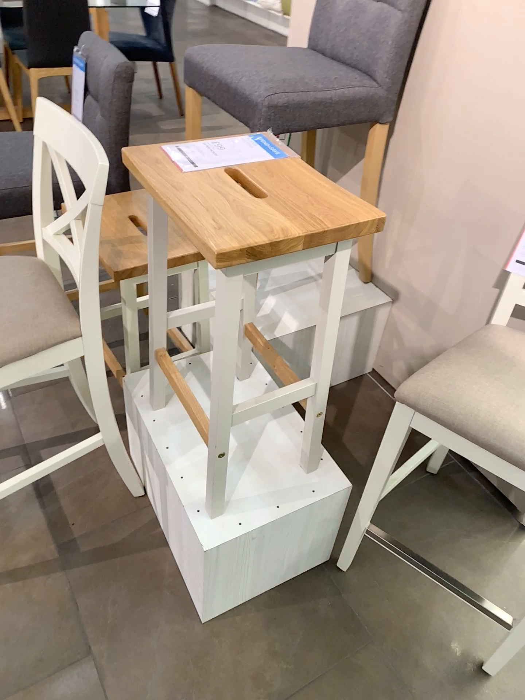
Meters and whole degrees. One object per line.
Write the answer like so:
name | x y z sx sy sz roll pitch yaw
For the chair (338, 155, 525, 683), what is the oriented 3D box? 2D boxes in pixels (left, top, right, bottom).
chair | 0.555 0.172 1.151 0.418 0.945 0.514 29 45 25

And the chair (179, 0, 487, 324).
chair | 0.108 -0.663 1.527 0.532 0.984 0.470 -17 45 -25

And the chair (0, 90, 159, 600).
chair | -0.580 0.013 1.197 0.503 0.955 0.440 -22 48 -30

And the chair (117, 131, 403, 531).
chair | -0.047 -0.036 1.082 0.322 0.638 0.400 -17 45 -25
